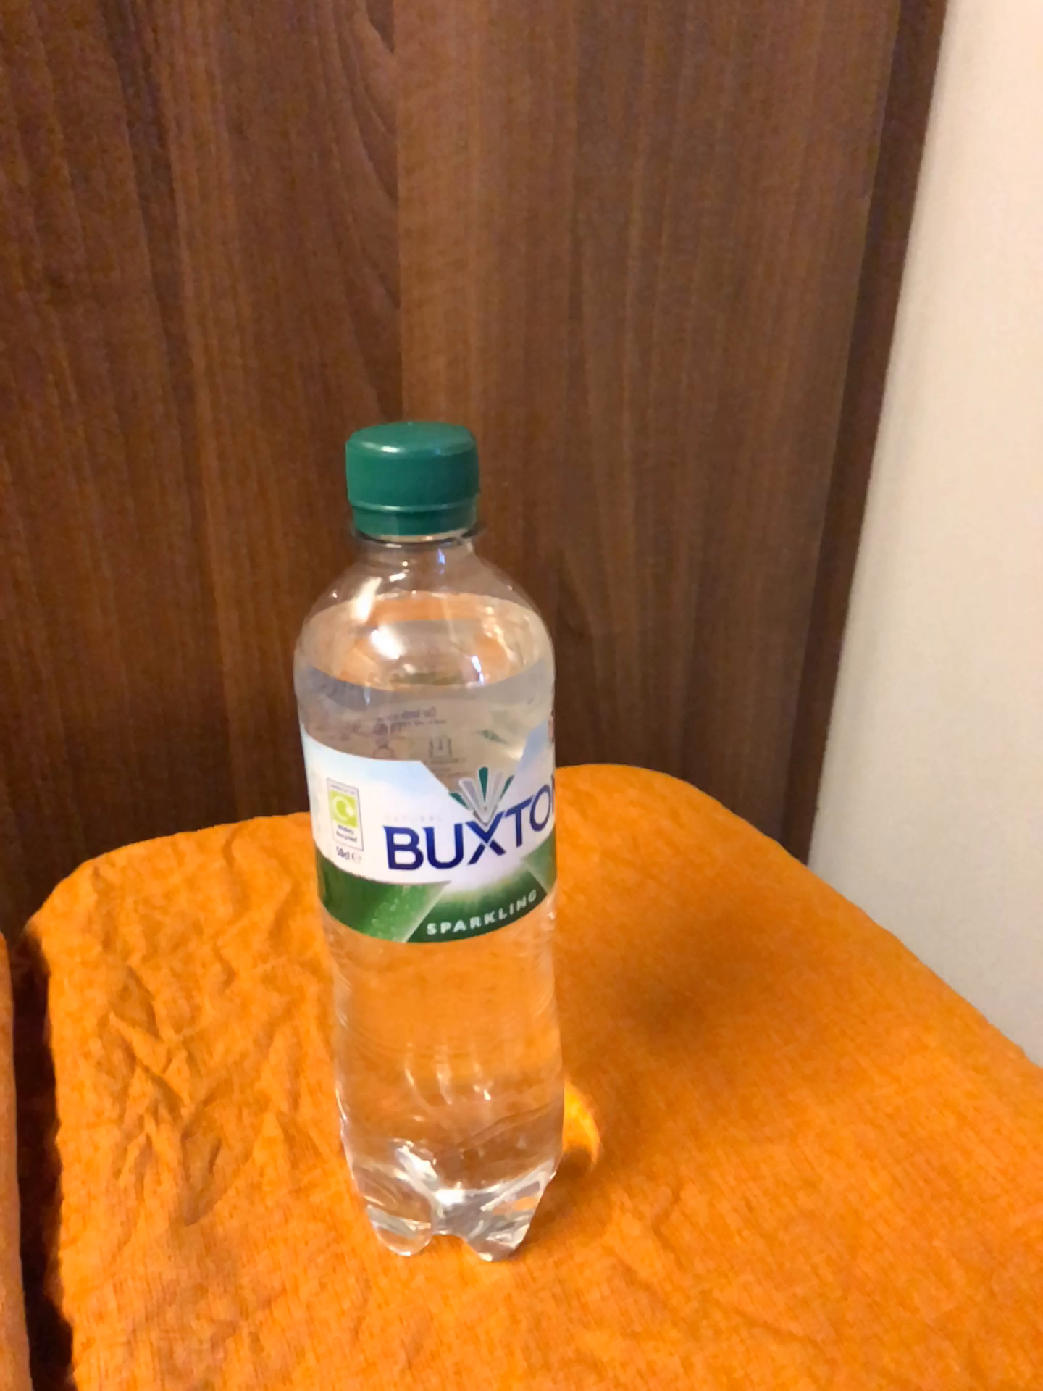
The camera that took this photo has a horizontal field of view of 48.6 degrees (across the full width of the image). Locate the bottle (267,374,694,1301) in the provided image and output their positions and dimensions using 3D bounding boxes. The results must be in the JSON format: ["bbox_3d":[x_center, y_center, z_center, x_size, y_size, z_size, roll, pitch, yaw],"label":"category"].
[{"bbox_3d":[-0.015,0.039,0.292,0.070,0.218,0.070,1,27,-1],"label":"bottle"}]
